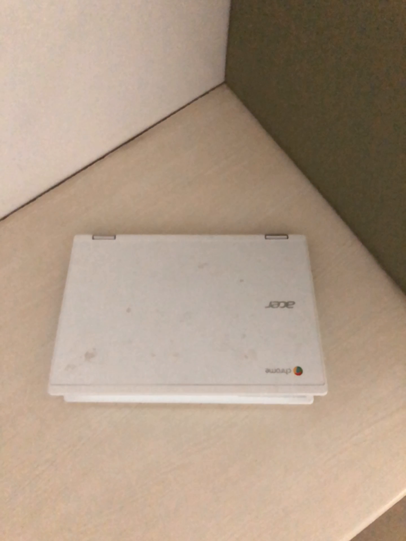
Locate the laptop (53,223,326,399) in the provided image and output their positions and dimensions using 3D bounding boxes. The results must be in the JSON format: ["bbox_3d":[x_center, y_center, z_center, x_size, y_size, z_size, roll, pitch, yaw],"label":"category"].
[{"bbox_3d":[-0.014,0.046,0.515,0.282,0.055,0.192,0,76,1],"label":"laptop"}]
